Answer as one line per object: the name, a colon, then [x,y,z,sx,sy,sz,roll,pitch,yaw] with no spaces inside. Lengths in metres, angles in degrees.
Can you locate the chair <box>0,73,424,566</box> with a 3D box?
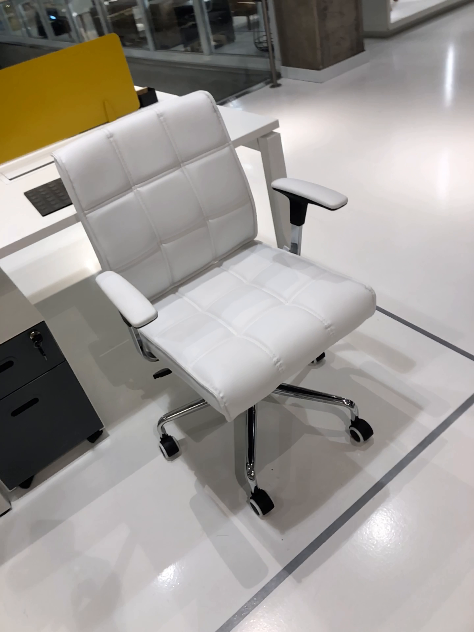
chair: [-0.002,-0.033,1.331,0.652,0.883,0.633,-34,41,-24]
